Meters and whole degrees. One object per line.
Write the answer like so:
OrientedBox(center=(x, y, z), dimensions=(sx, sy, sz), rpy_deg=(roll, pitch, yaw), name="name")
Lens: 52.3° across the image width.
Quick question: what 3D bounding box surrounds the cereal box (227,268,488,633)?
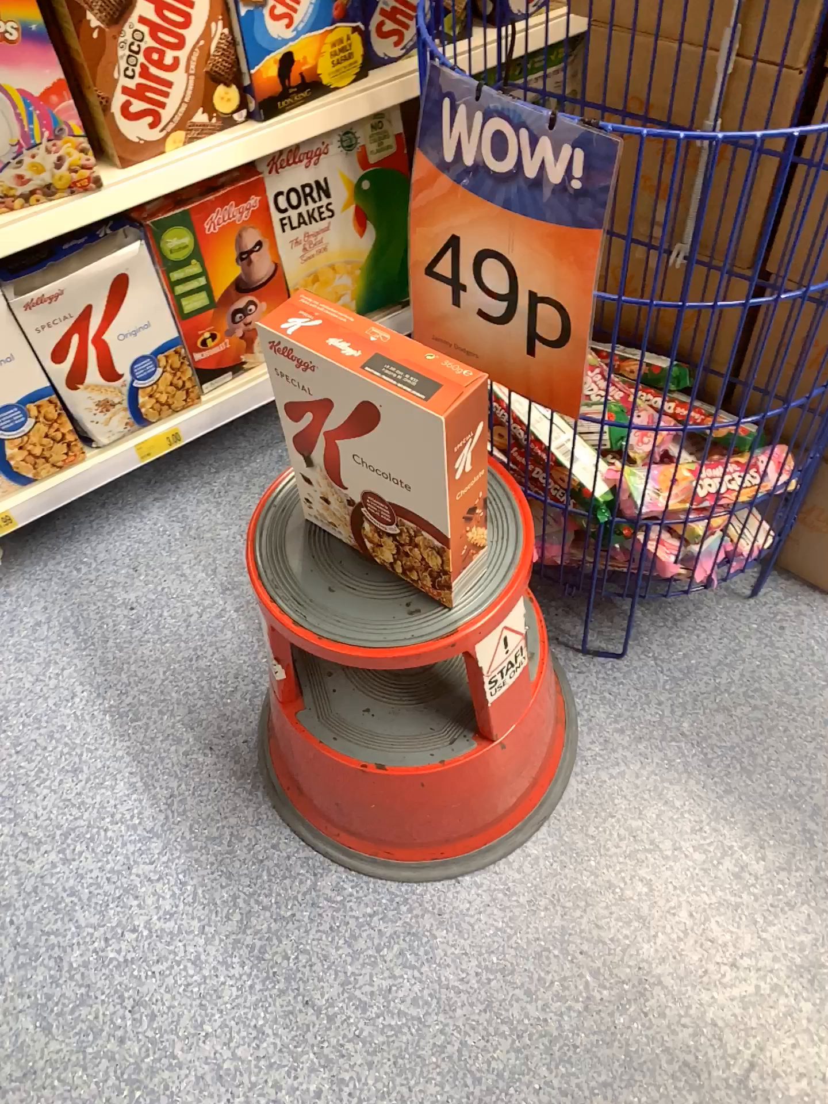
OrientedBox(center=(-0.040, -0.079, 0.731), dimensions=(0.211, 0.268, 0.060), rpy_deg=(32, 60, 26), name="cereal box")
